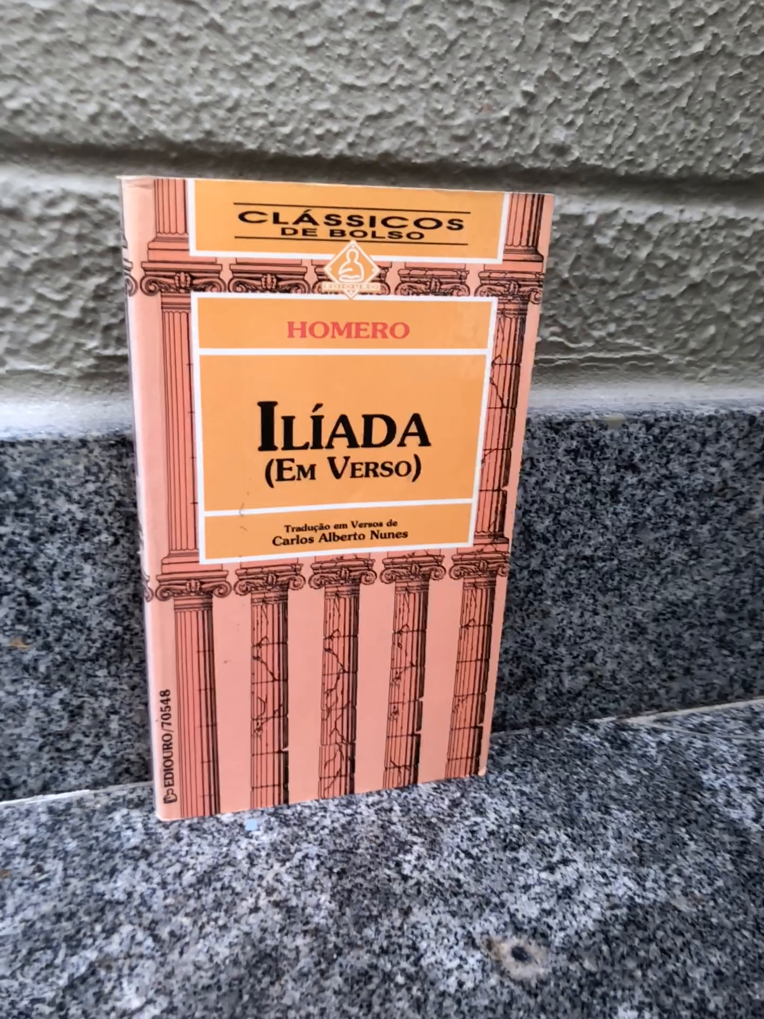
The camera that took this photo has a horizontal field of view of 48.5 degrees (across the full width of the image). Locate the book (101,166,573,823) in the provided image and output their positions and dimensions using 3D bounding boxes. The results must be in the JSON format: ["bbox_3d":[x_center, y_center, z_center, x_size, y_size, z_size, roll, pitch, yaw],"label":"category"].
[{"bbox_3d":[-0.017,0.001,0.297,0.139,0.219,0.030,-3,22,-15],"label":"book"}]
